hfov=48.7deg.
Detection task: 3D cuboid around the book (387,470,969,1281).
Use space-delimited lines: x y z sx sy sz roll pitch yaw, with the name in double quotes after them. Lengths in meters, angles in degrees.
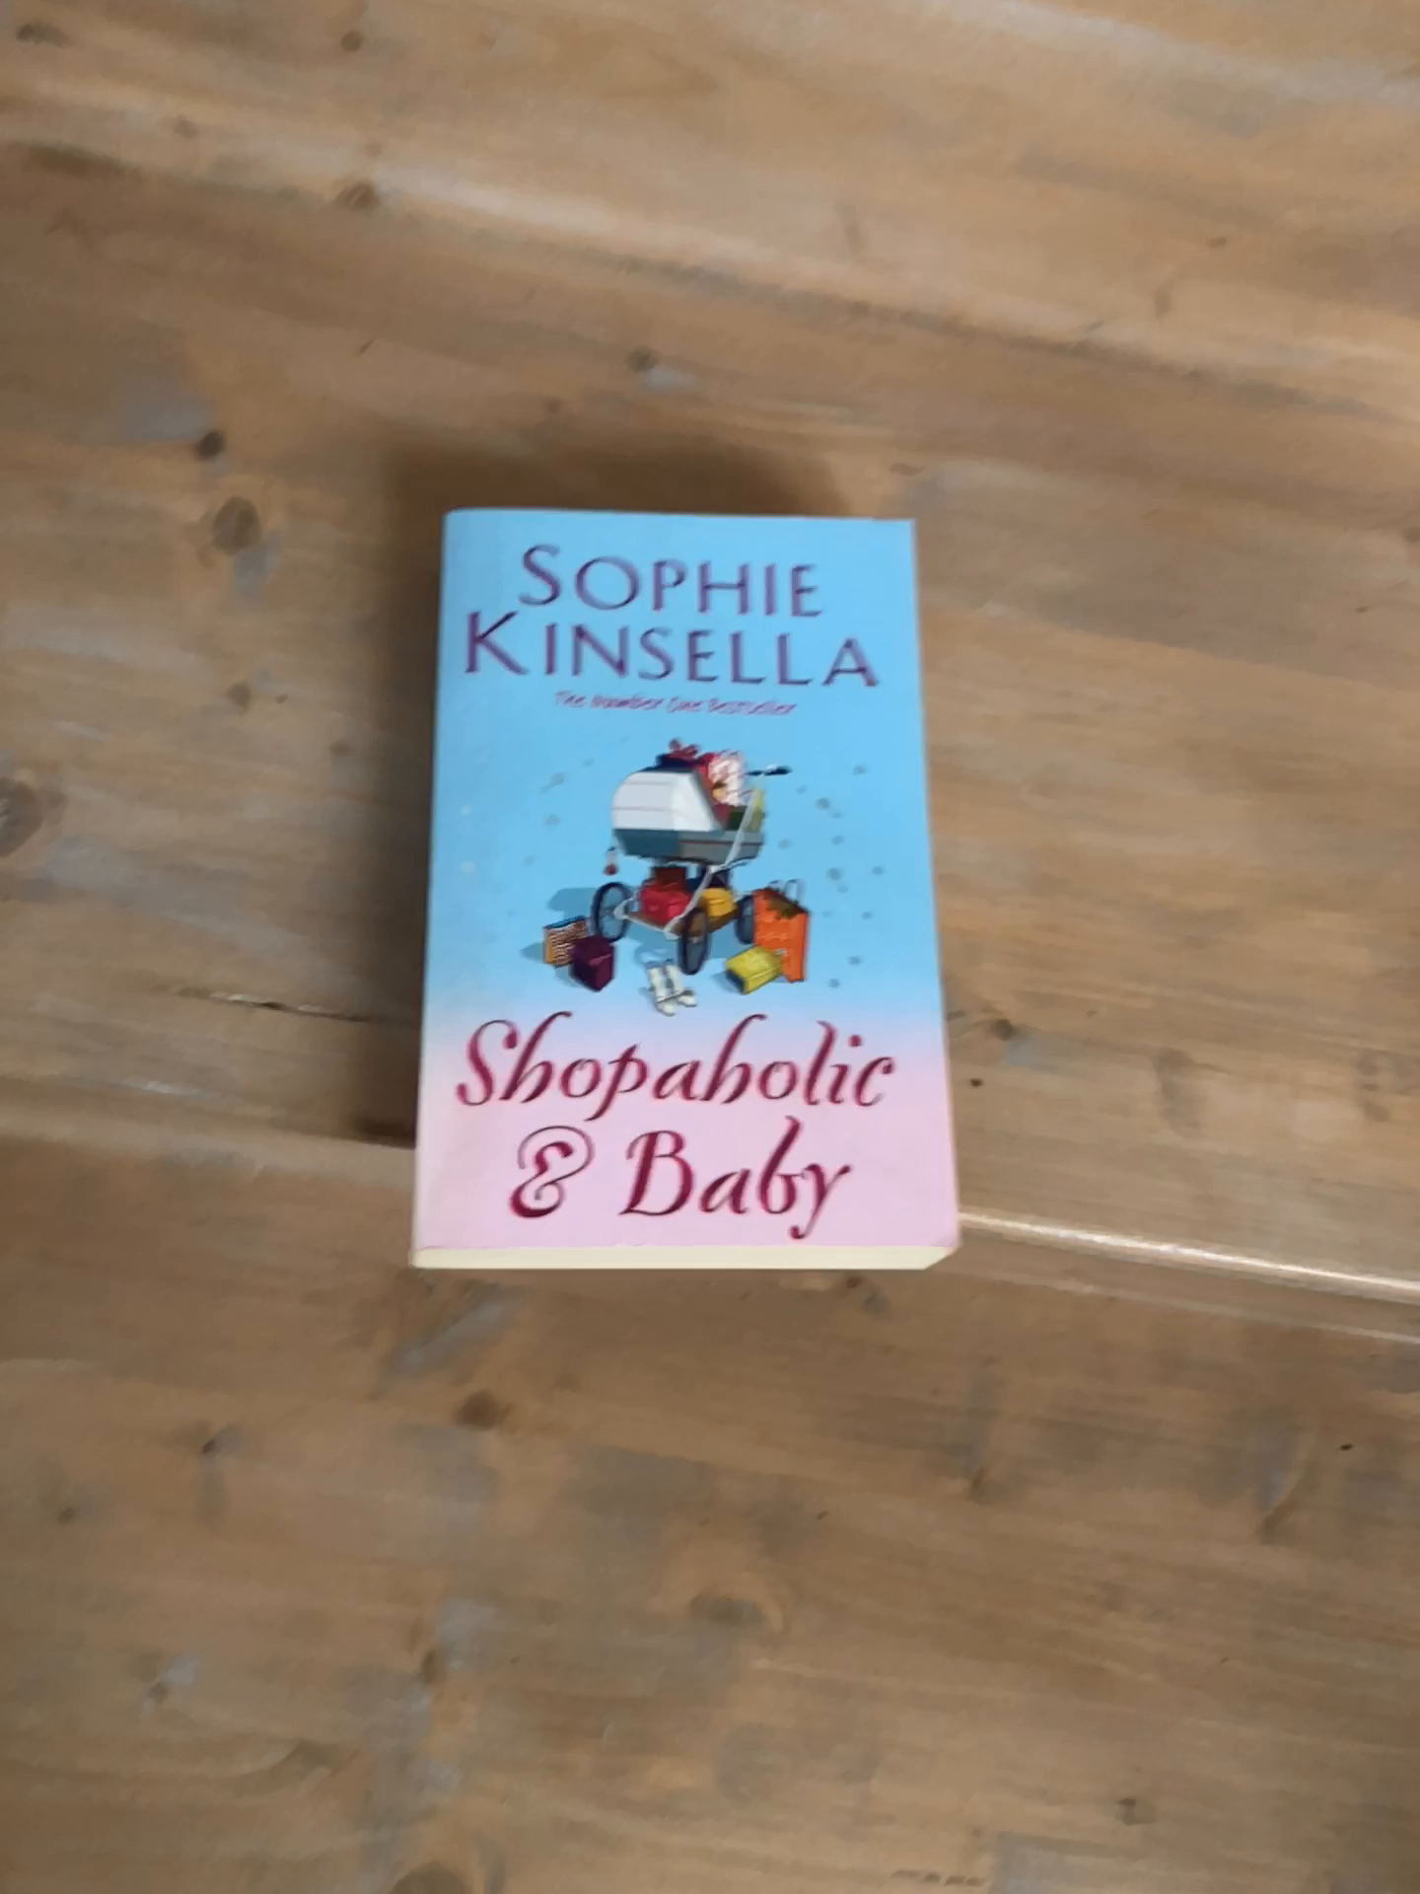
-0.010 -0.024 0.404 0.131 0.031 0.211 1 69 -5 "book"
